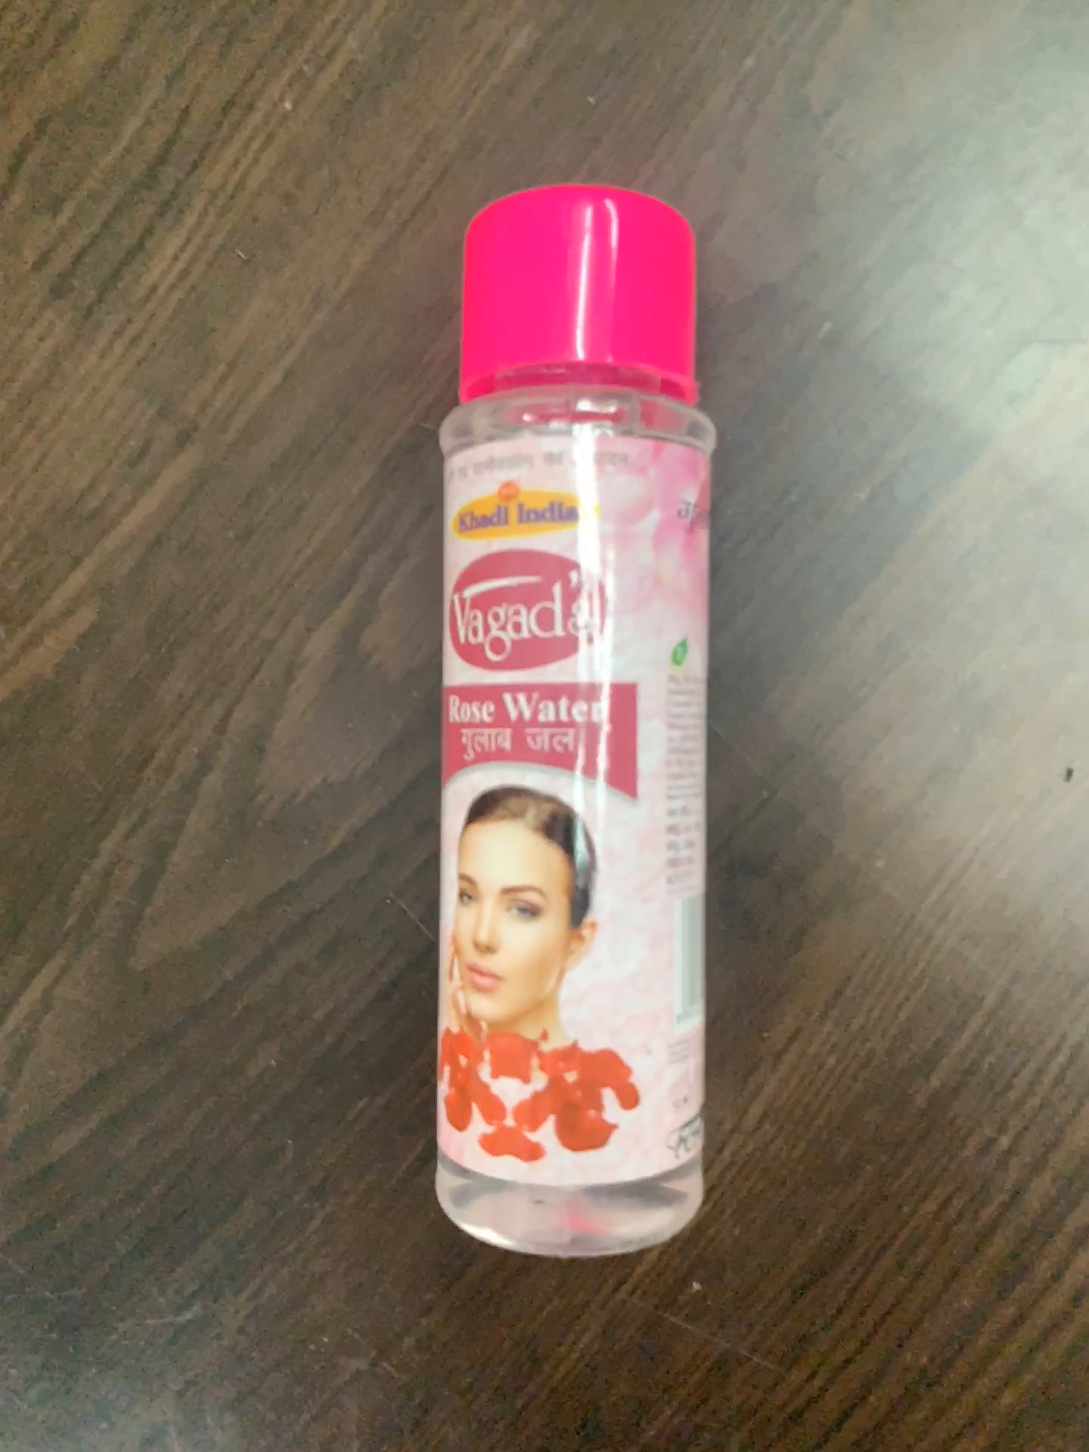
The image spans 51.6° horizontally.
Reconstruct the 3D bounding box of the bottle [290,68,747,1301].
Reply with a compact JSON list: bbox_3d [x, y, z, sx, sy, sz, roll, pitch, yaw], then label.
[{"bbox_3d":[-0.002,-0.004,0.155,0.050,0.040,0.140,2,93,18],"label":"bottle"}]
